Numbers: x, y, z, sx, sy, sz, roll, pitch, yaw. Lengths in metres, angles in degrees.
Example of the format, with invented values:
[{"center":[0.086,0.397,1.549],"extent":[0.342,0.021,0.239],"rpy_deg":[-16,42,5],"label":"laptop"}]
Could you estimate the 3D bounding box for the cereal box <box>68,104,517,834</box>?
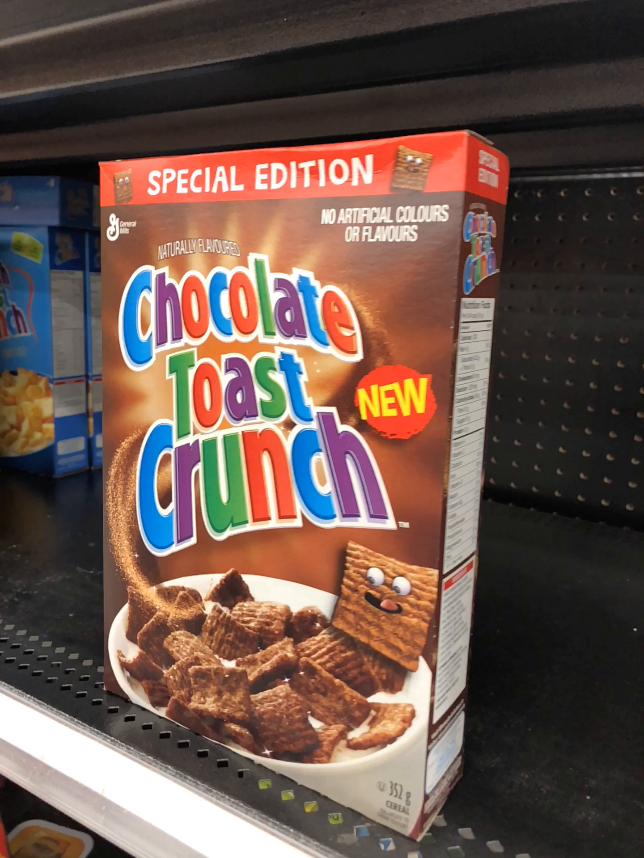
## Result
[{"center":[-0.028,0.009,0.330],"extent":[0.200,0.269,0.050],"rpy_deg":[9,12,32],"label":"cereal box"}]
